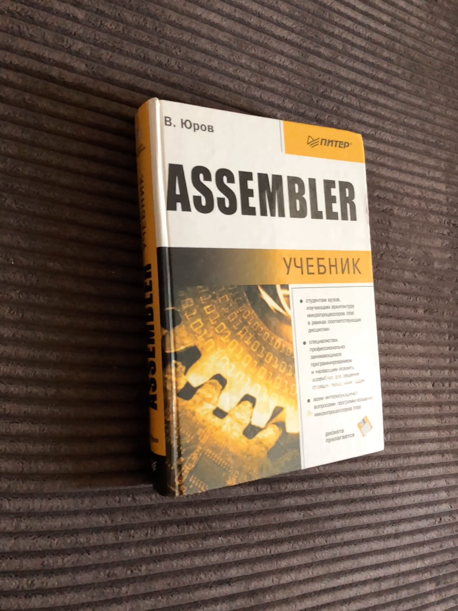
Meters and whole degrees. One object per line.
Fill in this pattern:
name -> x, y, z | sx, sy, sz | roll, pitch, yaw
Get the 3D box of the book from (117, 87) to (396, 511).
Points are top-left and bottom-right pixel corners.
book -> 0.022, -0.007, 0.347 | 0.171, 0.058, 0.236 | -2, 86, -30
